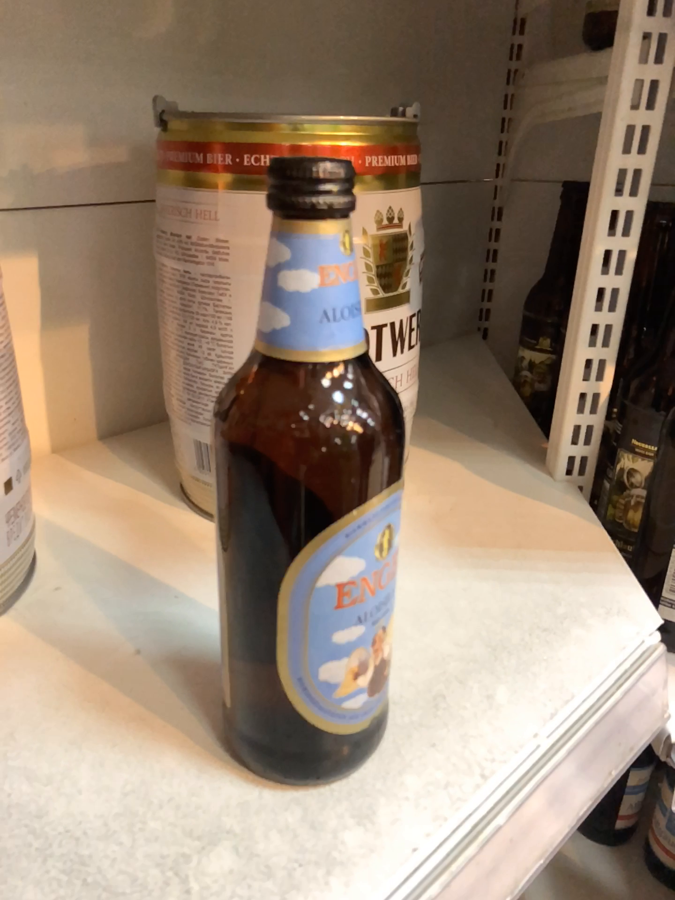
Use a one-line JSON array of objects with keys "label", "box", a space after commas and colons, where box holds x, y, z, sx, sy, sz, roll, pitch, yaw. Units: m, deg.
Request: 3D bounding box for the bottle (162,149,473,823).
[{"label": "bottle", "box": [-0.008, 0.014, 0.261, 0.060, 0.219, 0.070, 21, 30, 36]}]
